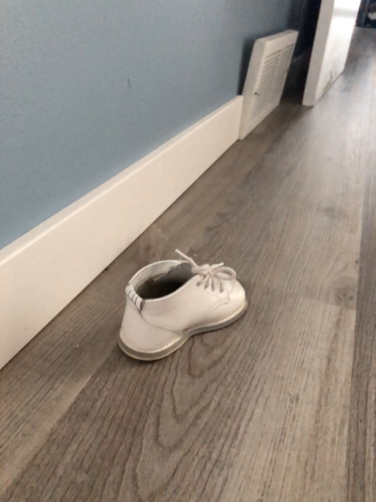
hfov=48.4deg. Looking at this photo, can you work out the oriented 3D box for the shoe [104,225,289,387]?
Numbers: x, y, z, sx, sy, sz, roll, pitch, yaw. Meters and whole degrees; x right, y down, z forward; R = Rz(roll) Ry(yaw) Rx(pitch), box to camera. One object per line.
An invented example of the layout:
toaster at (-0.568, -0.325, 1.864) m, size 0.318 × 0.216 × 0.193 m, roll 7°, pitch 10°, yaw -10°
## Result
shoe at (0.011, 0.037, 0.355) m, size 0.150 × 0.060 × 0.060 m, roll -24°, pitch 41°, yaw -36°
